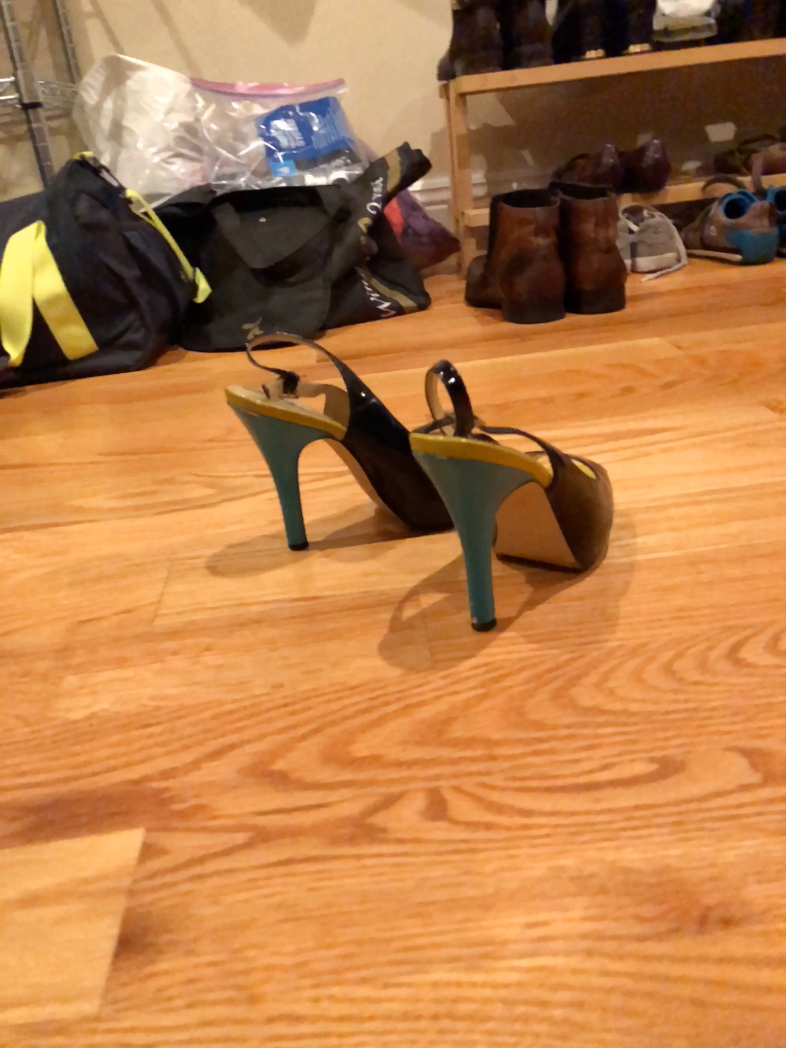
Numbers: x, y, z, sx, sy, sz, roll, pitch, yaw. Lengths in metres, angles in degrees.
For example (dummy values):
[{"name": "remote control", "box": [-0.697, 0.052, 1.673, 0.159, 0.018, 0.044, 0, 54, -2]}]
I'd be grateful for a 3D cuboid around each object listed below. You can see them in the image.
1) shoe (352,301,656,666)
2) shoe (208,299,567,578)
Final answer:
[{"name": "shoe", "box": [0.076, -0.038, 0.484, 0.085, 0.131, 0.202, 9, 29, 31]}, {"name": "shoe", "box": [-0.001, -0.062, 0.555, 0.204, 0.121, 0.085, -14, 25, -15]}]
